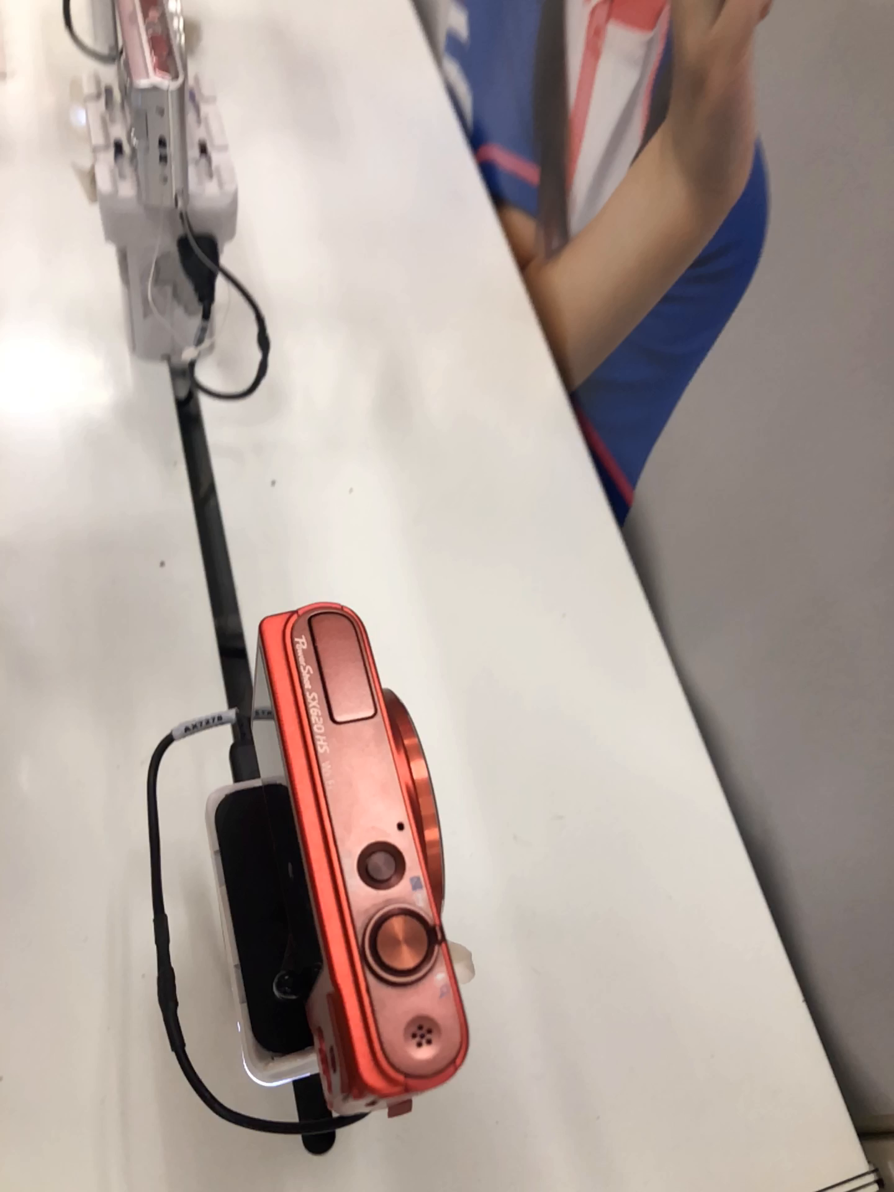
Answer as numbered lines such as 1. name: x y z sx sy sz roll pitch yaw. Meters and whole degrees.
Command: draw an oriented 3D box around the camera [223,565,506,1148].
1. camera: -0.025 0.057 0.222 0.030 0.060 0.110 -9 63 -18
